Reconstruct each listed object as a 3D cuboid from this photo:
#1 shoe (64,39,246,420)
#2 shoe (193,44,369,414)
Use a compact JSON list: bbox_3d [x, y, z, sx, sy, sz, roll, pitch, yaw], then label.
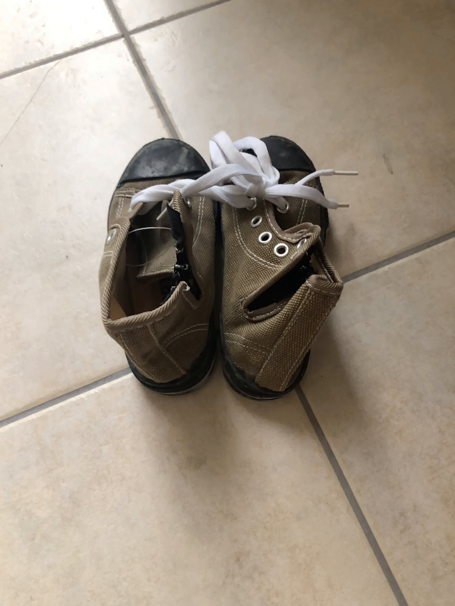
[{"bbox_3d":[-0.043,-0.041,0.316,0.080,0.110,0.200,-8,67,0],"label":"shoe"},{"bbox_3d":[0.025,-0.042,0.319,0.080,0.110,0.200,-2,67,3],"label":"shoe"}]
